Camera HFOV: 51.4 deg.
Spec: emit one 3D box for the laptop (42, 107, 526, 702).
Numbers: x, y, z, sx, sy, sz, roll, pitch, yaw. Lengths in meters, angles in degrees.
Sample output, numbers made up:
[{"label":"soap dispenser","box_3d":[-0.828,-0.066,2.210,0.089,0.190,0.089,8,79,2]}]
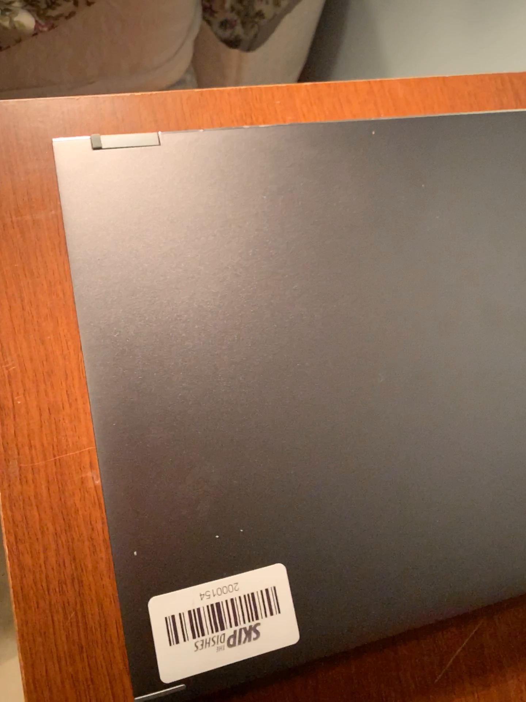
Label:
[{"label":"laptop","box_3d":[0.069,-0.005,0.257,0.299,0.002,0.232,-9,79,-14]}]
